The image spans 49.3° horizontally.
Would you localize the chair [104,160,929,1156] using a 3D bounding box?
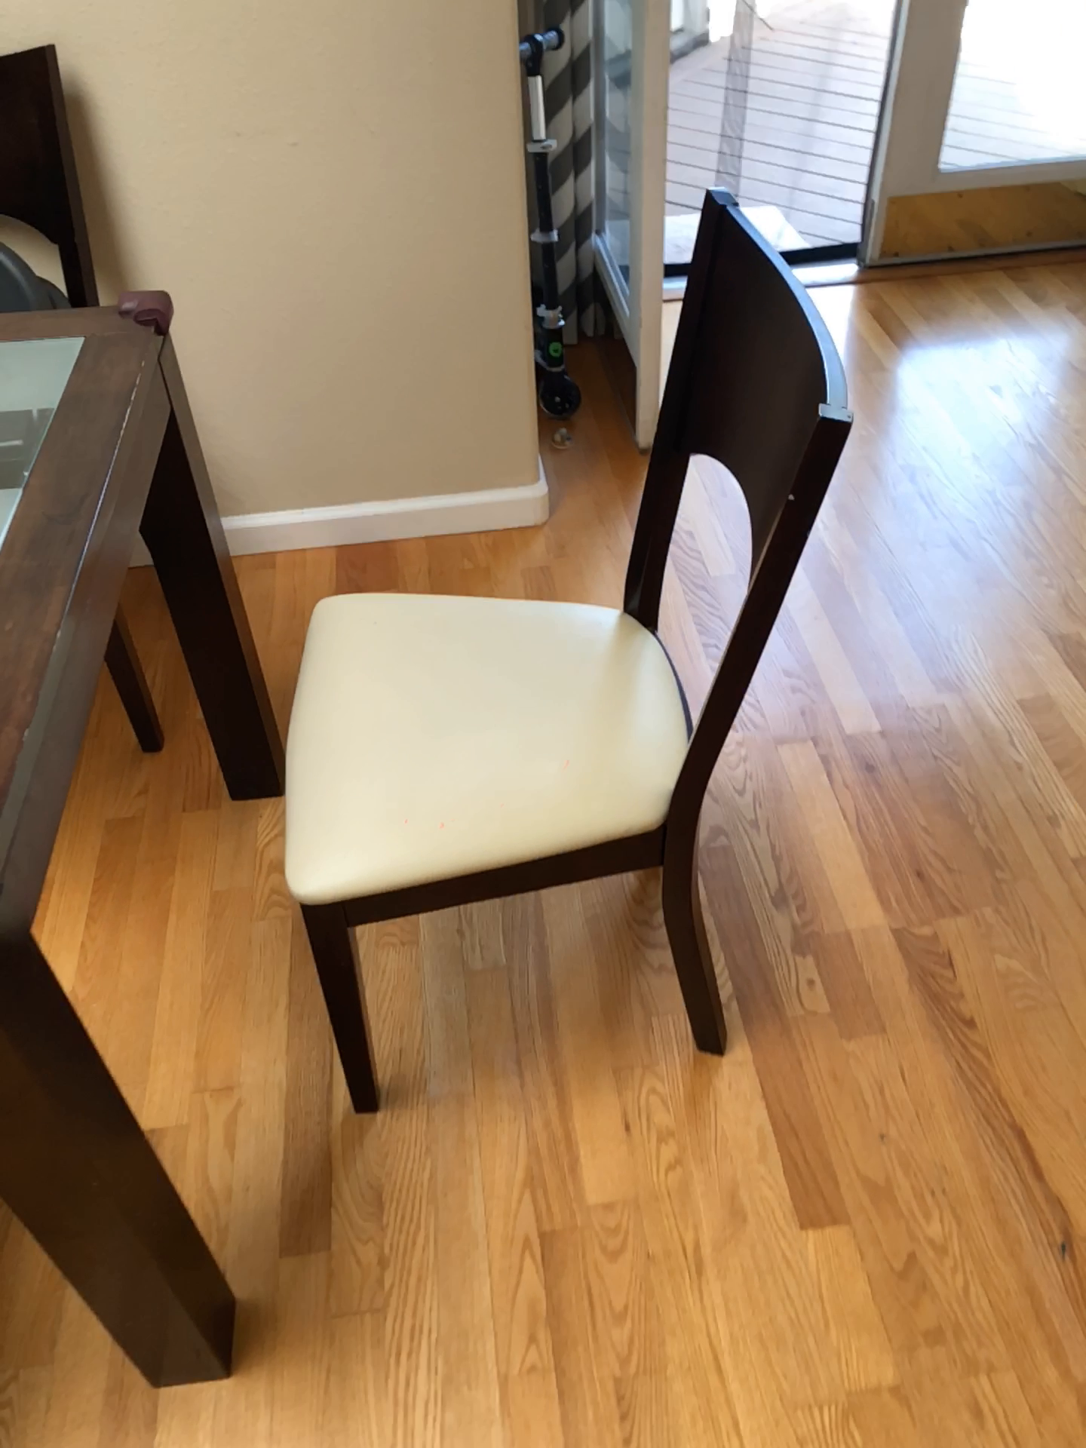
[{"bbox_3d":[-0.016,-0.025,1.388,0.590,0.995,0.563,-4,43,-1],"label":"chair"}]
